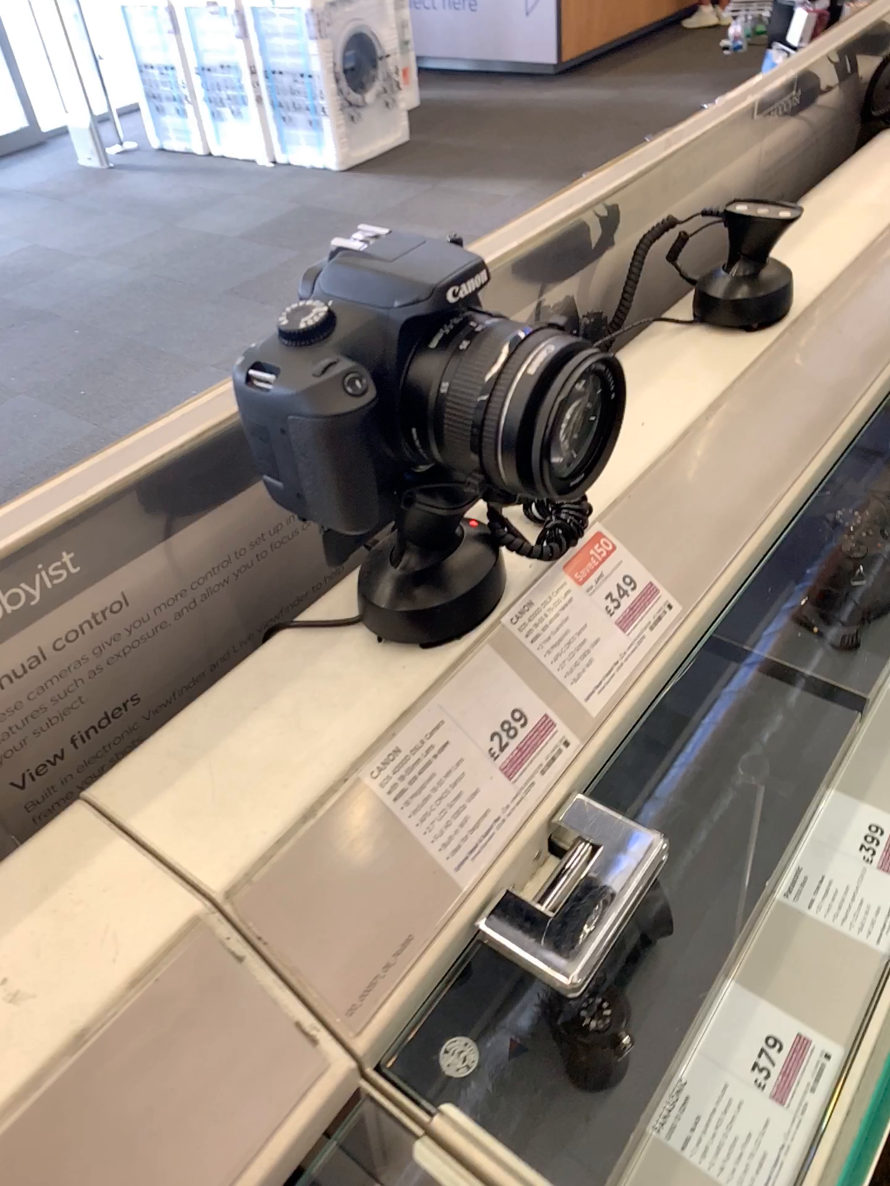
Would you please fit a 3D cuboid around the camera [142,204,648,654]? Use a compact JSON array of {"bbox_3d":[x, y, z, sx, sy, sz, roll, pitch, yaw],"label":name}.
[{"bbox_3d":[-0.014,-0.079,0.380,0.136,0.101,0.141,27,51,34],"label":"camera"}]
